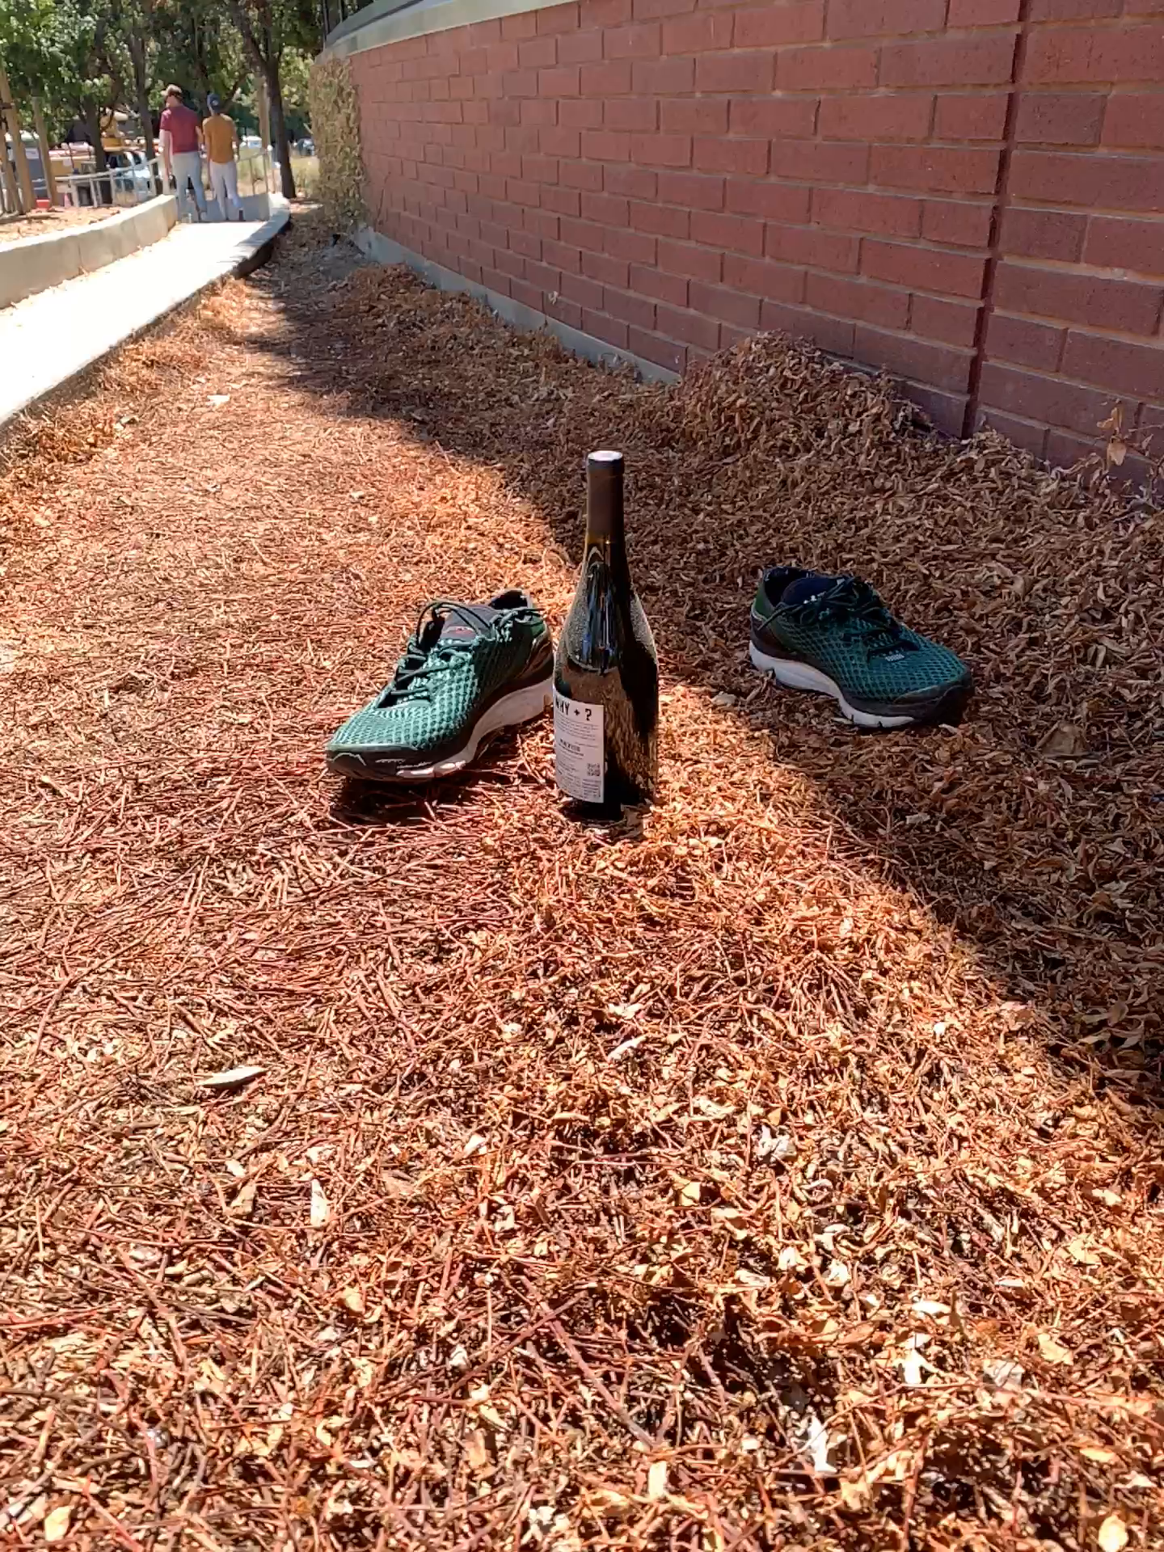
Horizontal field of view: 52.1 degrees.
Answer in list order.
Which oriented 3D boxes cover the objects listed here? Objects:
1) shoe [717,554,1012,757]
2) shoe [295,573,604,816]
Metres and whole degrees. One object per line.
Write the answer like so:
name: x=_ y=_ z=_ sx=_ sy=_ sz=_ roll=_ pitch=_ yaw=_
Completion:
shoe: x=0.270 y=-0.130 z=1.189 sx=0.130 sy=0.089 sz=0.272 roll=-16 pitch=33 yaw=-26
shoe: x=-0.107 y=-0.087 z=1.098 sx=0.140 sy=0.089 sz=0.301 roll=13 pitch=32 yaw=23
